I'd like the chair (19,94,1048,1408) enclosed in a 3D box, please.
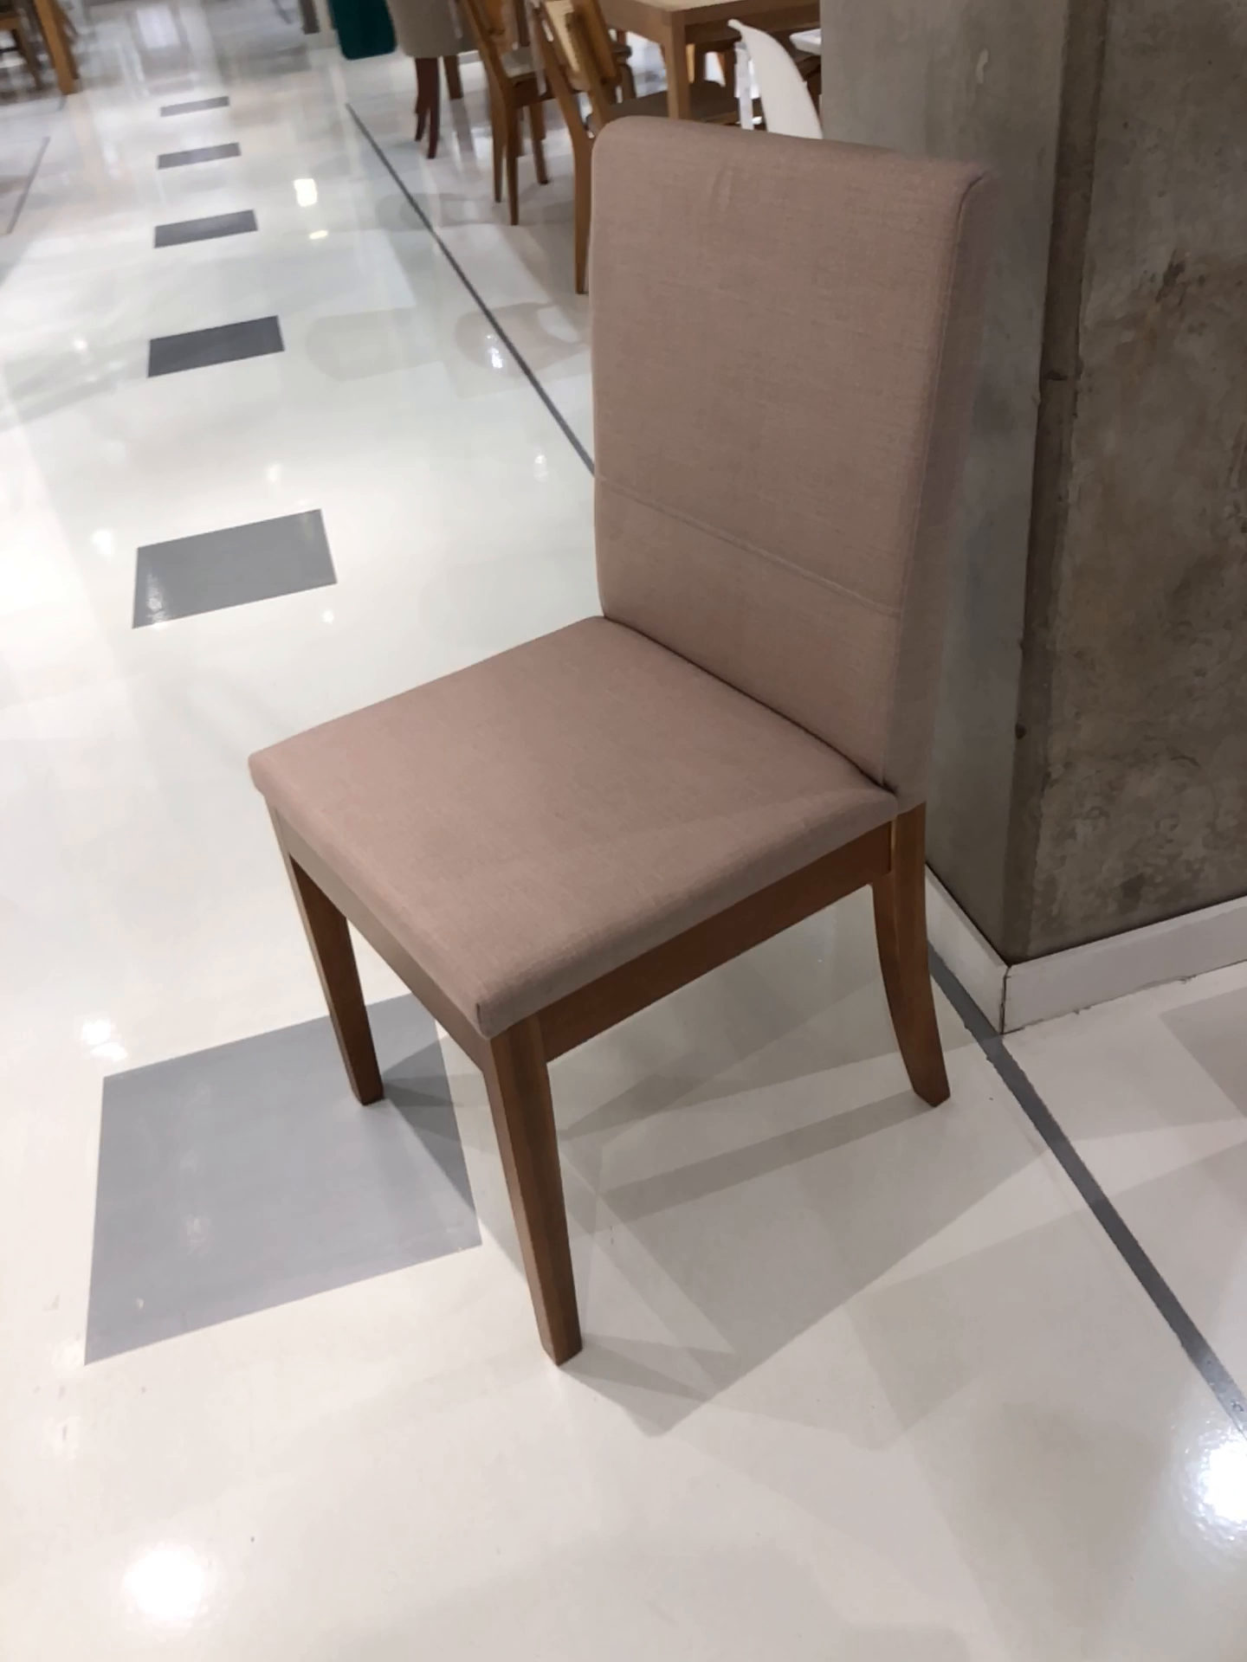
[{"bbox_3d":[-0.045,-0.087,1.262,0.541,0.933,0.563,-27,40,-23],"label":"chair"}]
